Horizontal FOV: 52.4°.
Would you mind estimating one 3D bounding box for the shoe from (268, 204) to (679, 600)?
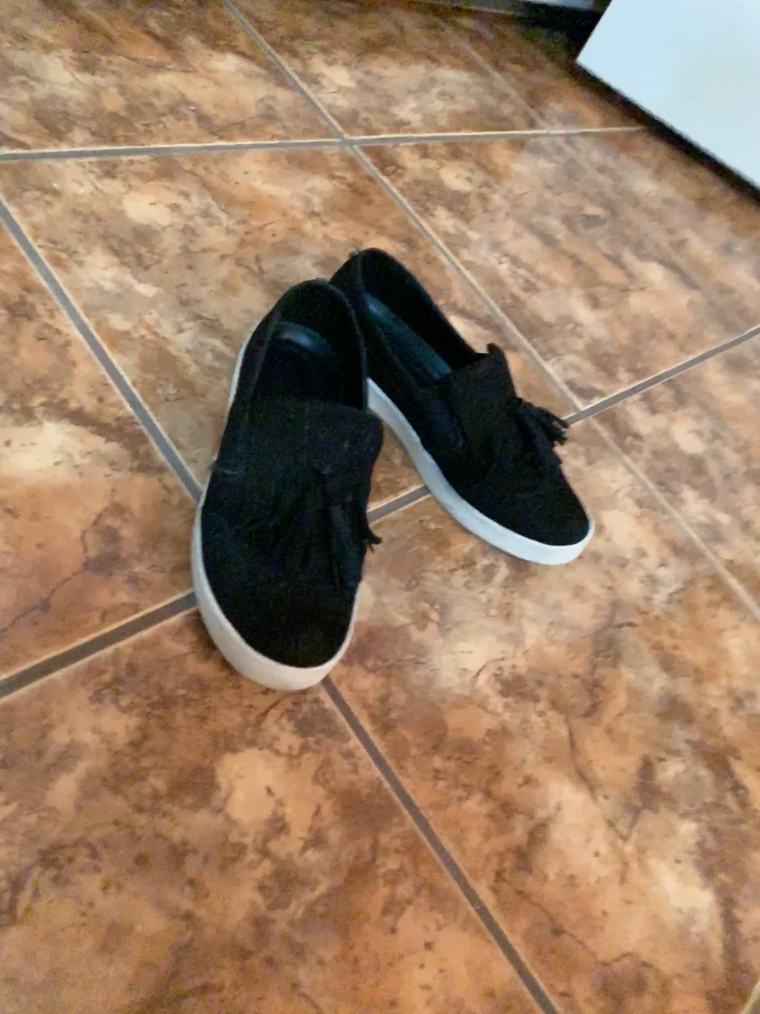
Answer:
[{"bbox_3d":[0.058,-0.074,0.517,0.249,0.093,0.098,45,47,8],"label":"shoe"}]

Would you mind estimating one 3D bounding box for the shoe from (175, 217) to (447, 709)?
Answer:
[{"bbox_3d":[-0.050,-0.029,0.421,0.097,0.093,0.250,8,52,-24],"label":"shoe"}]
